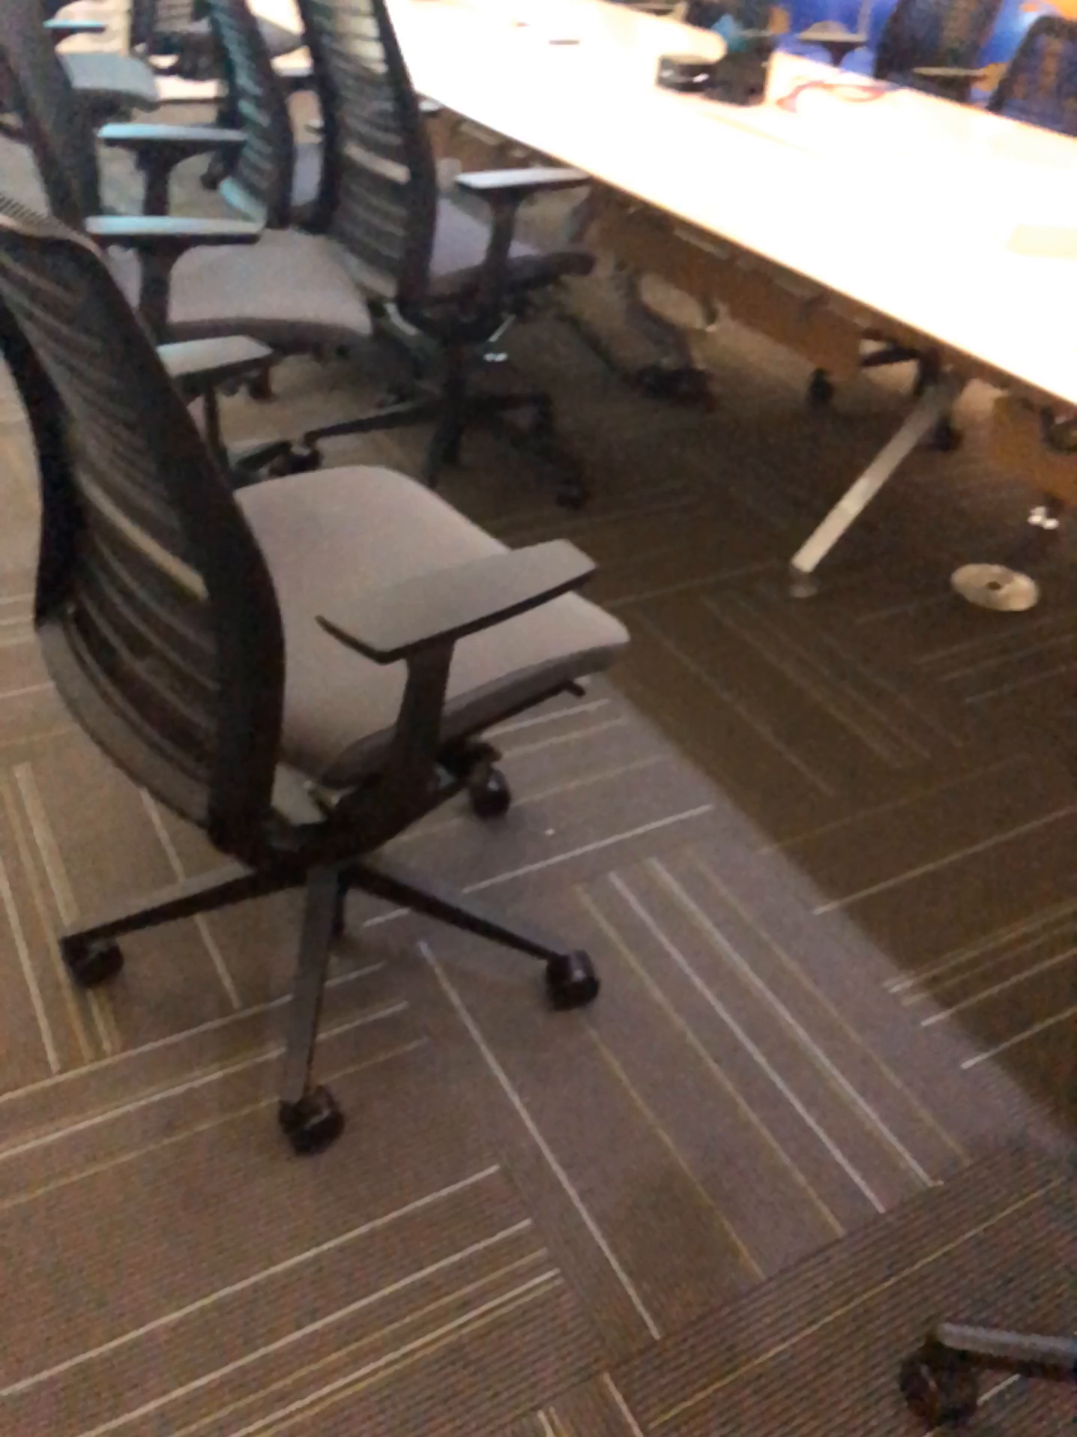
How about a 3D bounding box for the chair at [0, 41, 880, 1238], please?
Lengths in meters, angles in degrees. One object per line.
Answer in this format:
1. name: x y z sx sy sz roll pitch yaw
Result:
1. chair: -0.237 -0.157 1.251 0.661 0.856 0.723 -24 45 -35
